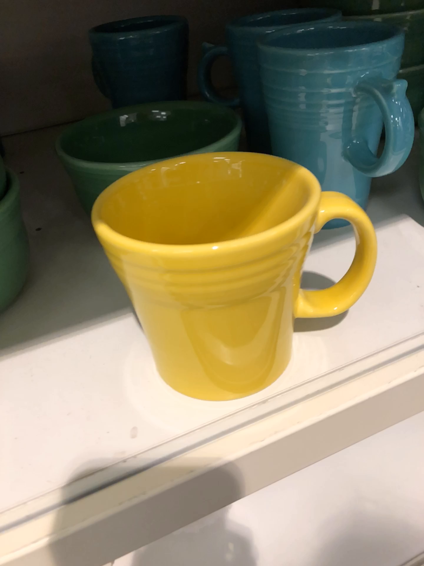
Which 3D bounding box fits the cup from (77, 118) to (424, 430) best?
[{"bbox_3d":[0.014,-0.012,0.252,0.137,0.100,0.097,-15,38,-11],"label":"cup"}]
